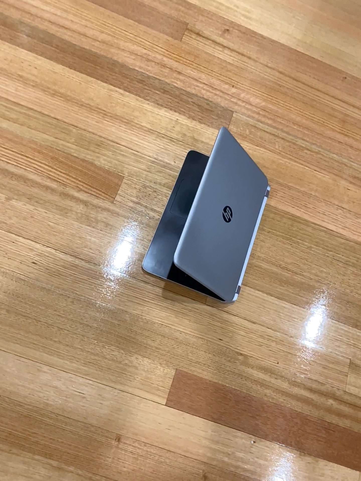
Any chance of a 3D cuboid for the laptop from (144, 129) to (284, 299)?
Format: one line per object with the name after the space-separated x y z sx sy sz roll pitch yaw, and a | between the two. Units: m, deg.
0.082 -0.061 0.858 0.209 0.102 0.333 23 70 -6 | laptop
